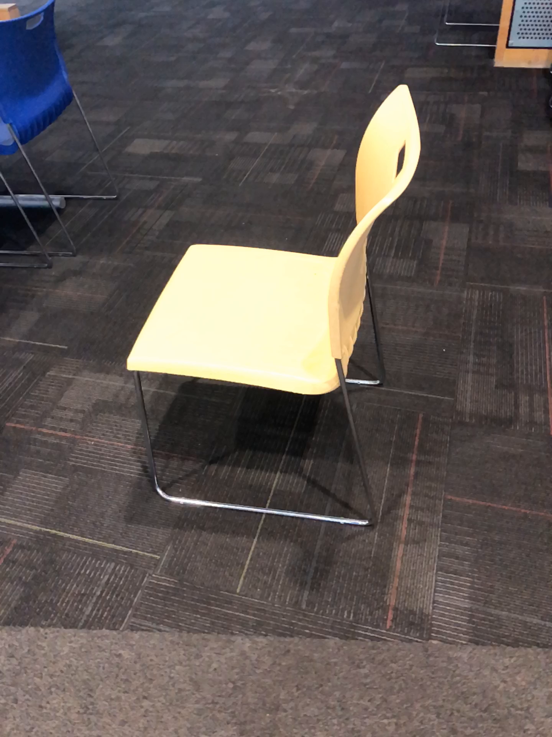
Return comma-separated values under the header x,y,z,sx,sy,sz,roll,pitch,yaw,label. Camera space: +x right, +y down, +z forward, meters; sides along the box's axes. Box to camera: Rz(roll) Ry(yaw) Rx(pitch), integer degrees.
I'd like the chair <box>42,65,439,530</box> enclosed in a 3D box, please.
x,y,z,sx,sy,sz,roll,pitch,yaw,label
0.016,-0.152,1.284,0.560,0.736,0.573,5,43,11,chair
